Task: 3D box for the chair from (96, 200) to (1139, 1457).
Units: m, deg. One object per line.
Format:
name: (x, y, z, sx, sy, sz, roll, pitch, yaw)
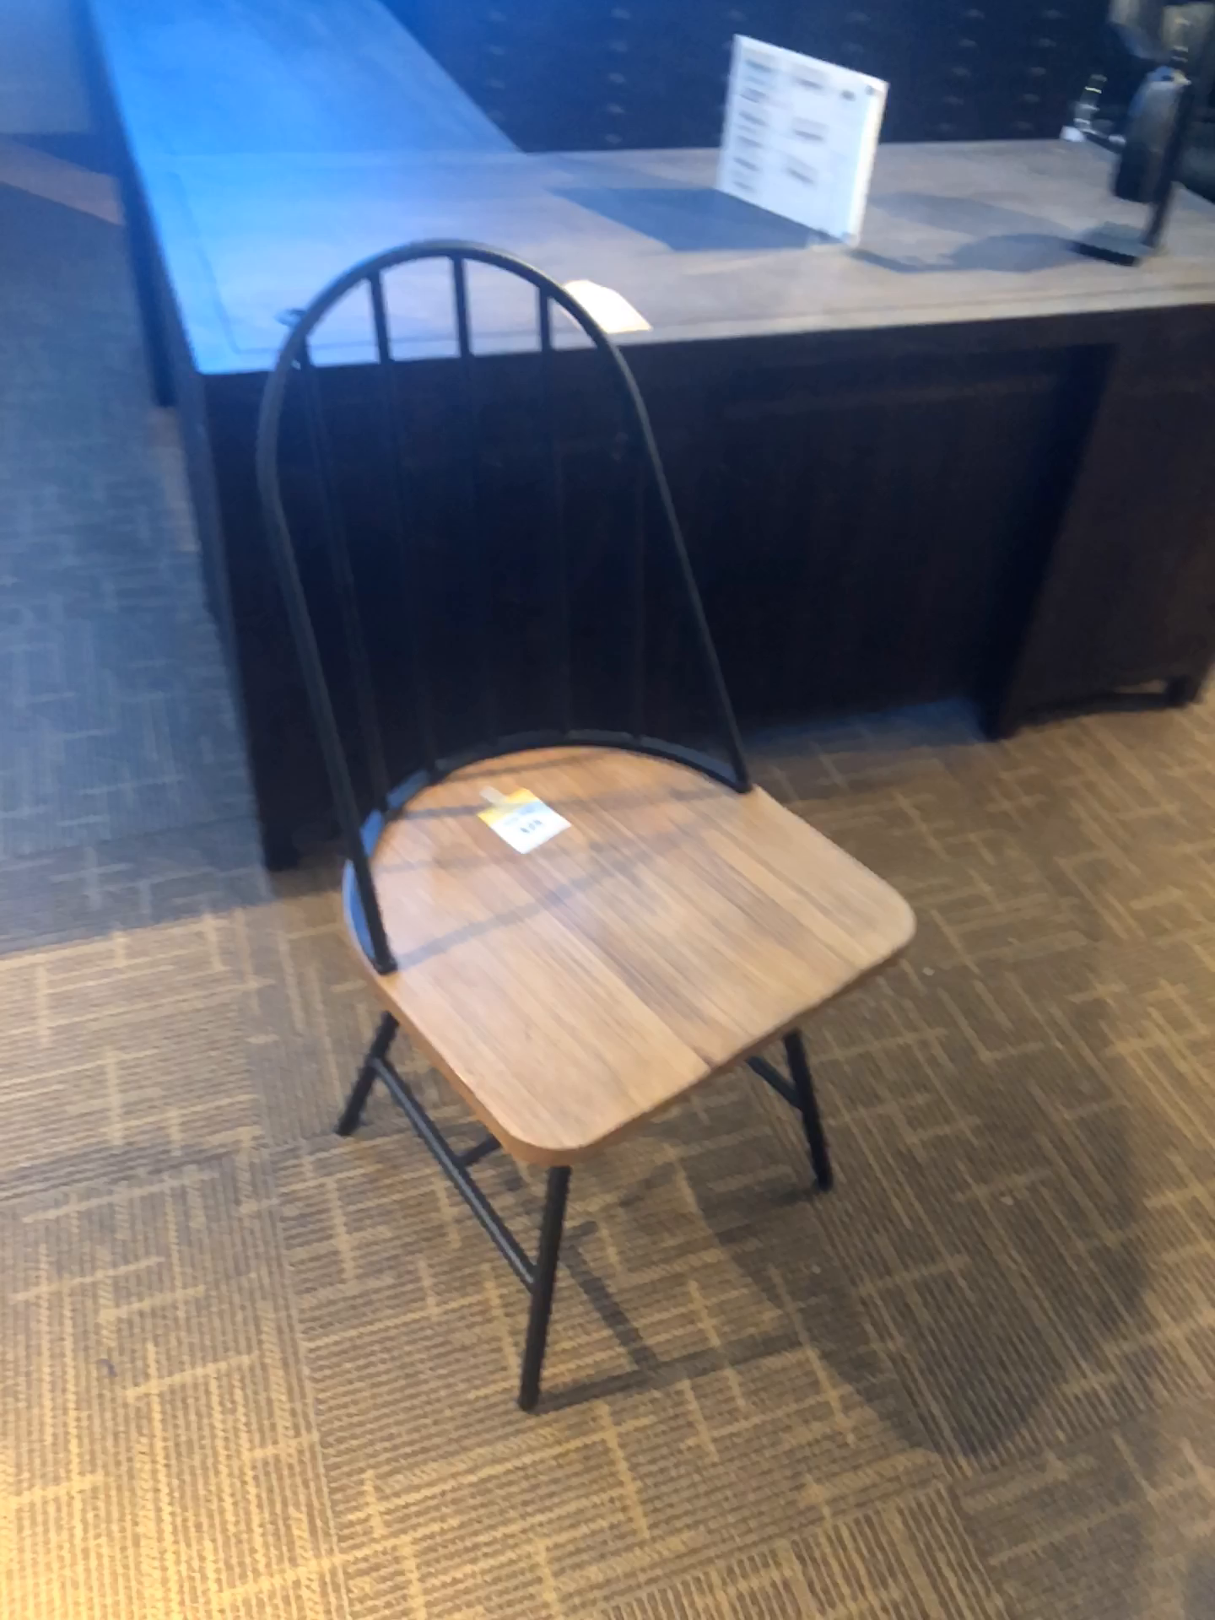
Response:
chair: (-0.041, 0.021, 1.297, 0.515, 0.930, 0.600, -26, 50, -31)
